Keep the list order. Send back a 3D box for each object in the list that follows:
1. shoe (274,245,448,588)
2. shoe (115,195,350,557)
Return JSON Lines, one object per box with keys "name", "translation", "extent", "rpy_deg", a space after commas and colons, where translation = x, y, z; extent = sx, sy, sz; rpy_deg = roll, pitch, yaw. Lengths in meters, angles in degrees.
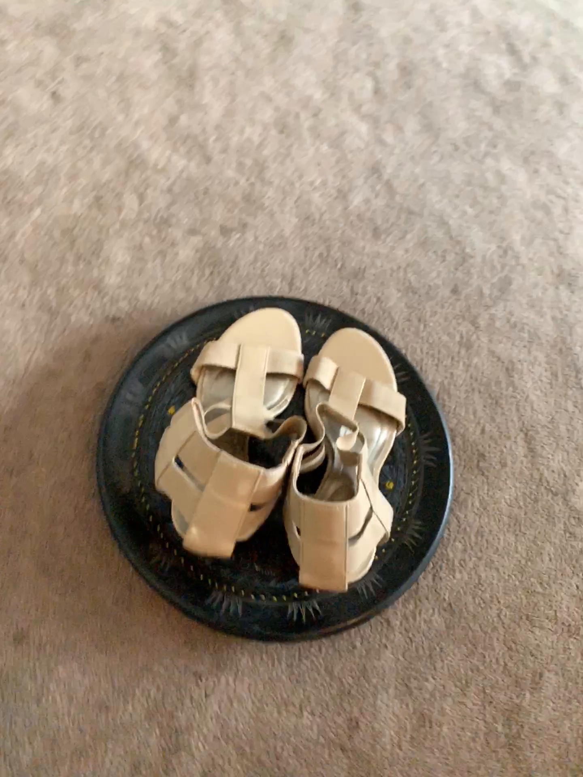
{"name": "shoe", "translation": [0.052, 0.022, 0.442], "extent": [0.090, 0.100, 0.221], "rpy_deg": [9, 66, -4]}
{"name": "shoe", "translation": [-0.035, -0.008, 0.428], "extent": [0.100, 0.100, 0.221], "rpy_deg": [13, 66, -2]}
